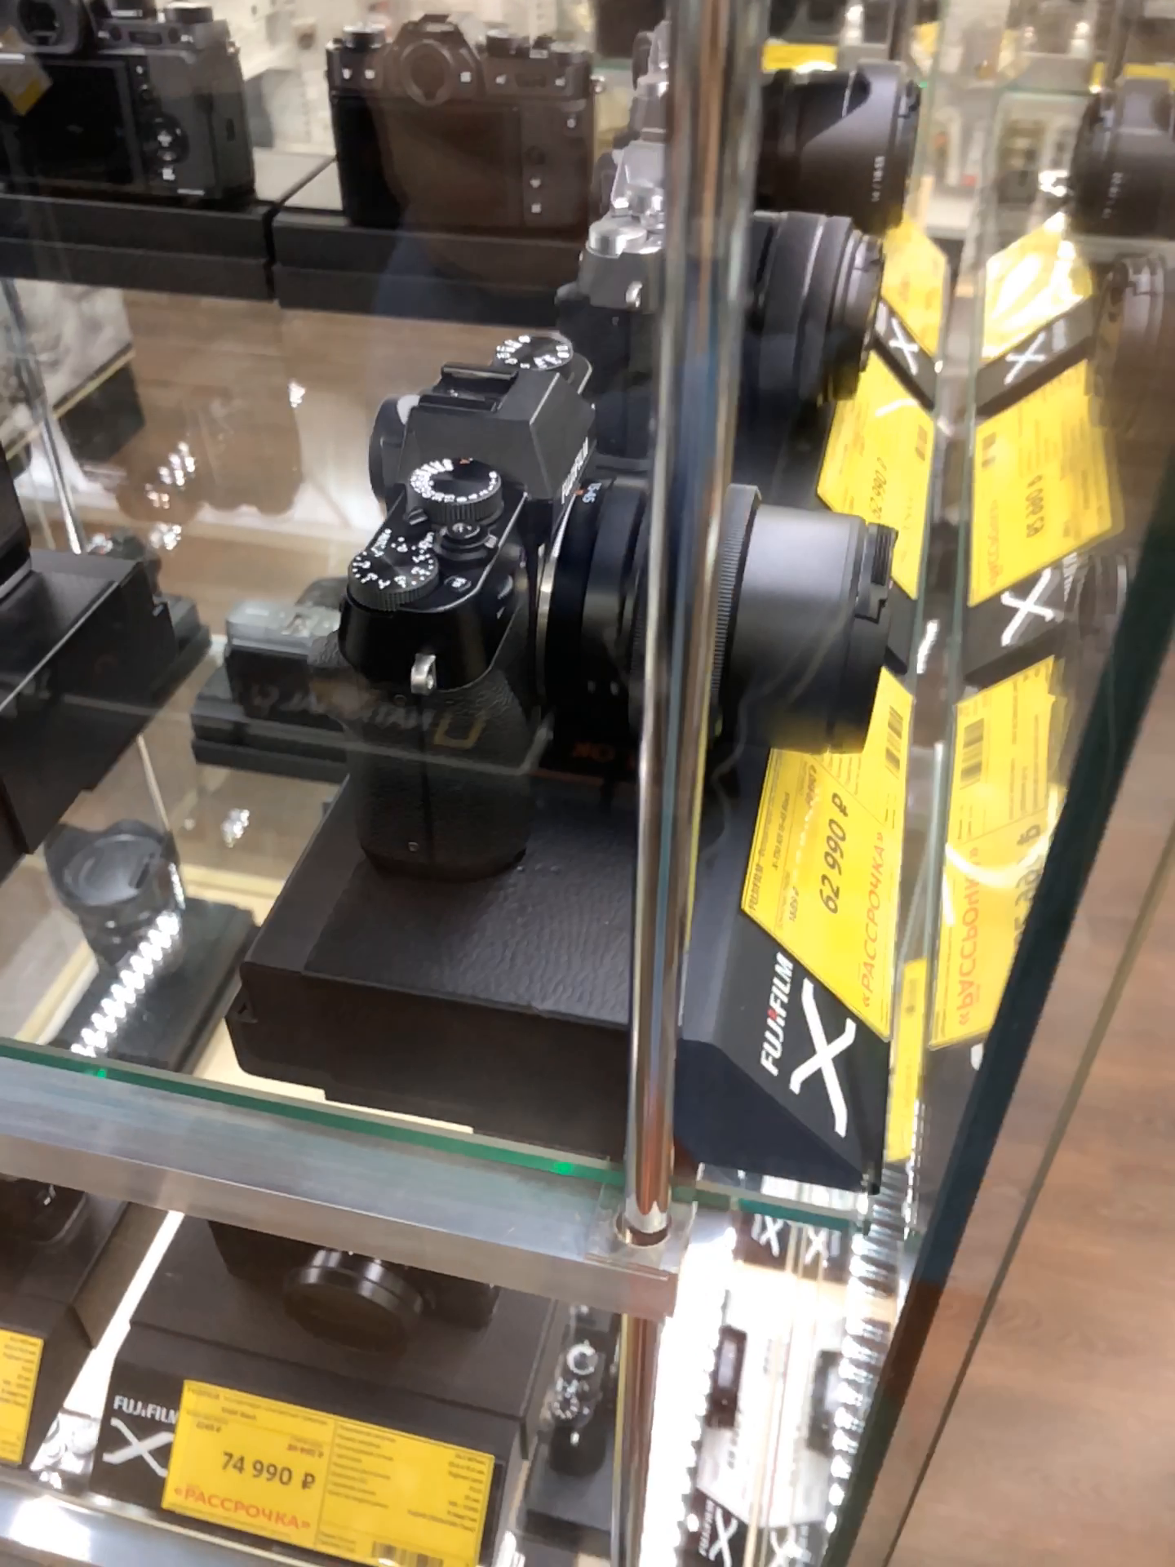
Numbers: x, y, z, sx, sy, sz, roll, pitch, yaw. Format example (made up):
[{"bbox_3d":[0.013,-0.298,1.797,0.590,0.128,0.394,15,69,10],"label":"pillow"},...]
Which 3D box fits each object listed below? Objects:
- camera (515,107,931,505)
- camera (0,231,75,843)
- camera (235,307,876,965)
[{"bbox_3d":[0.047,-0.159,0.423,0.108,0.078,0.114,9,41,11],"label":"camera"},{"bbox_3d":[-0.220,-0.067,0.321,0.114,0.090,0.120,8,41,9],"label":"camera"},{"bbox_3d":[0.002,-0.039,0.297,0.110,0.090,0.114,7,41,9],"label":"camera"}]
